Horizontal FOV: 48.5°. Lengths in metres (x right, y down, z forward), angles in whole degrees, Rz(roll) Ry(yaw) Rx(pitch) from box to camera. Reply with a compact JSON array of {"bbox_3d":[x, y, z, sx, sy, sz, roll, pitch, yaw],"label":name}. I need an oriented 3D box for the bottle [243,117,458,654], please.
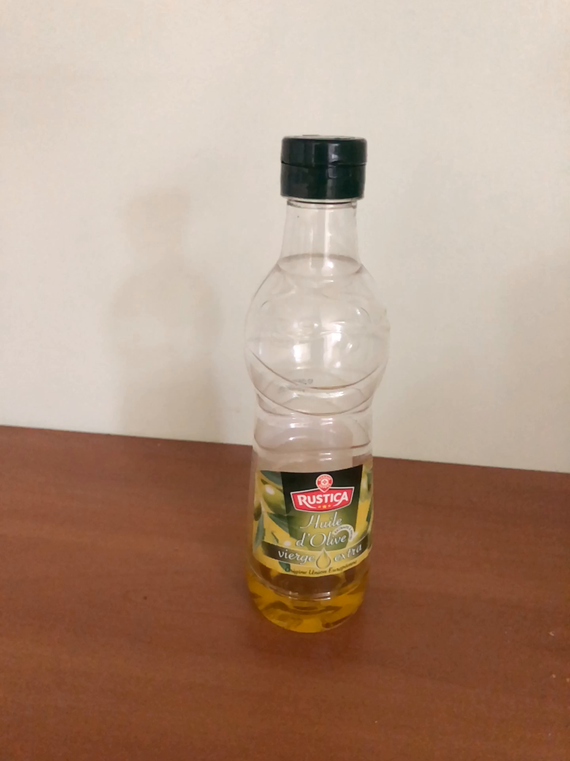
[{"bbox_3d":[0.019,0.009,0.296,0.070,0.239,0.070,1,25,0],"label":"bottle"}]
